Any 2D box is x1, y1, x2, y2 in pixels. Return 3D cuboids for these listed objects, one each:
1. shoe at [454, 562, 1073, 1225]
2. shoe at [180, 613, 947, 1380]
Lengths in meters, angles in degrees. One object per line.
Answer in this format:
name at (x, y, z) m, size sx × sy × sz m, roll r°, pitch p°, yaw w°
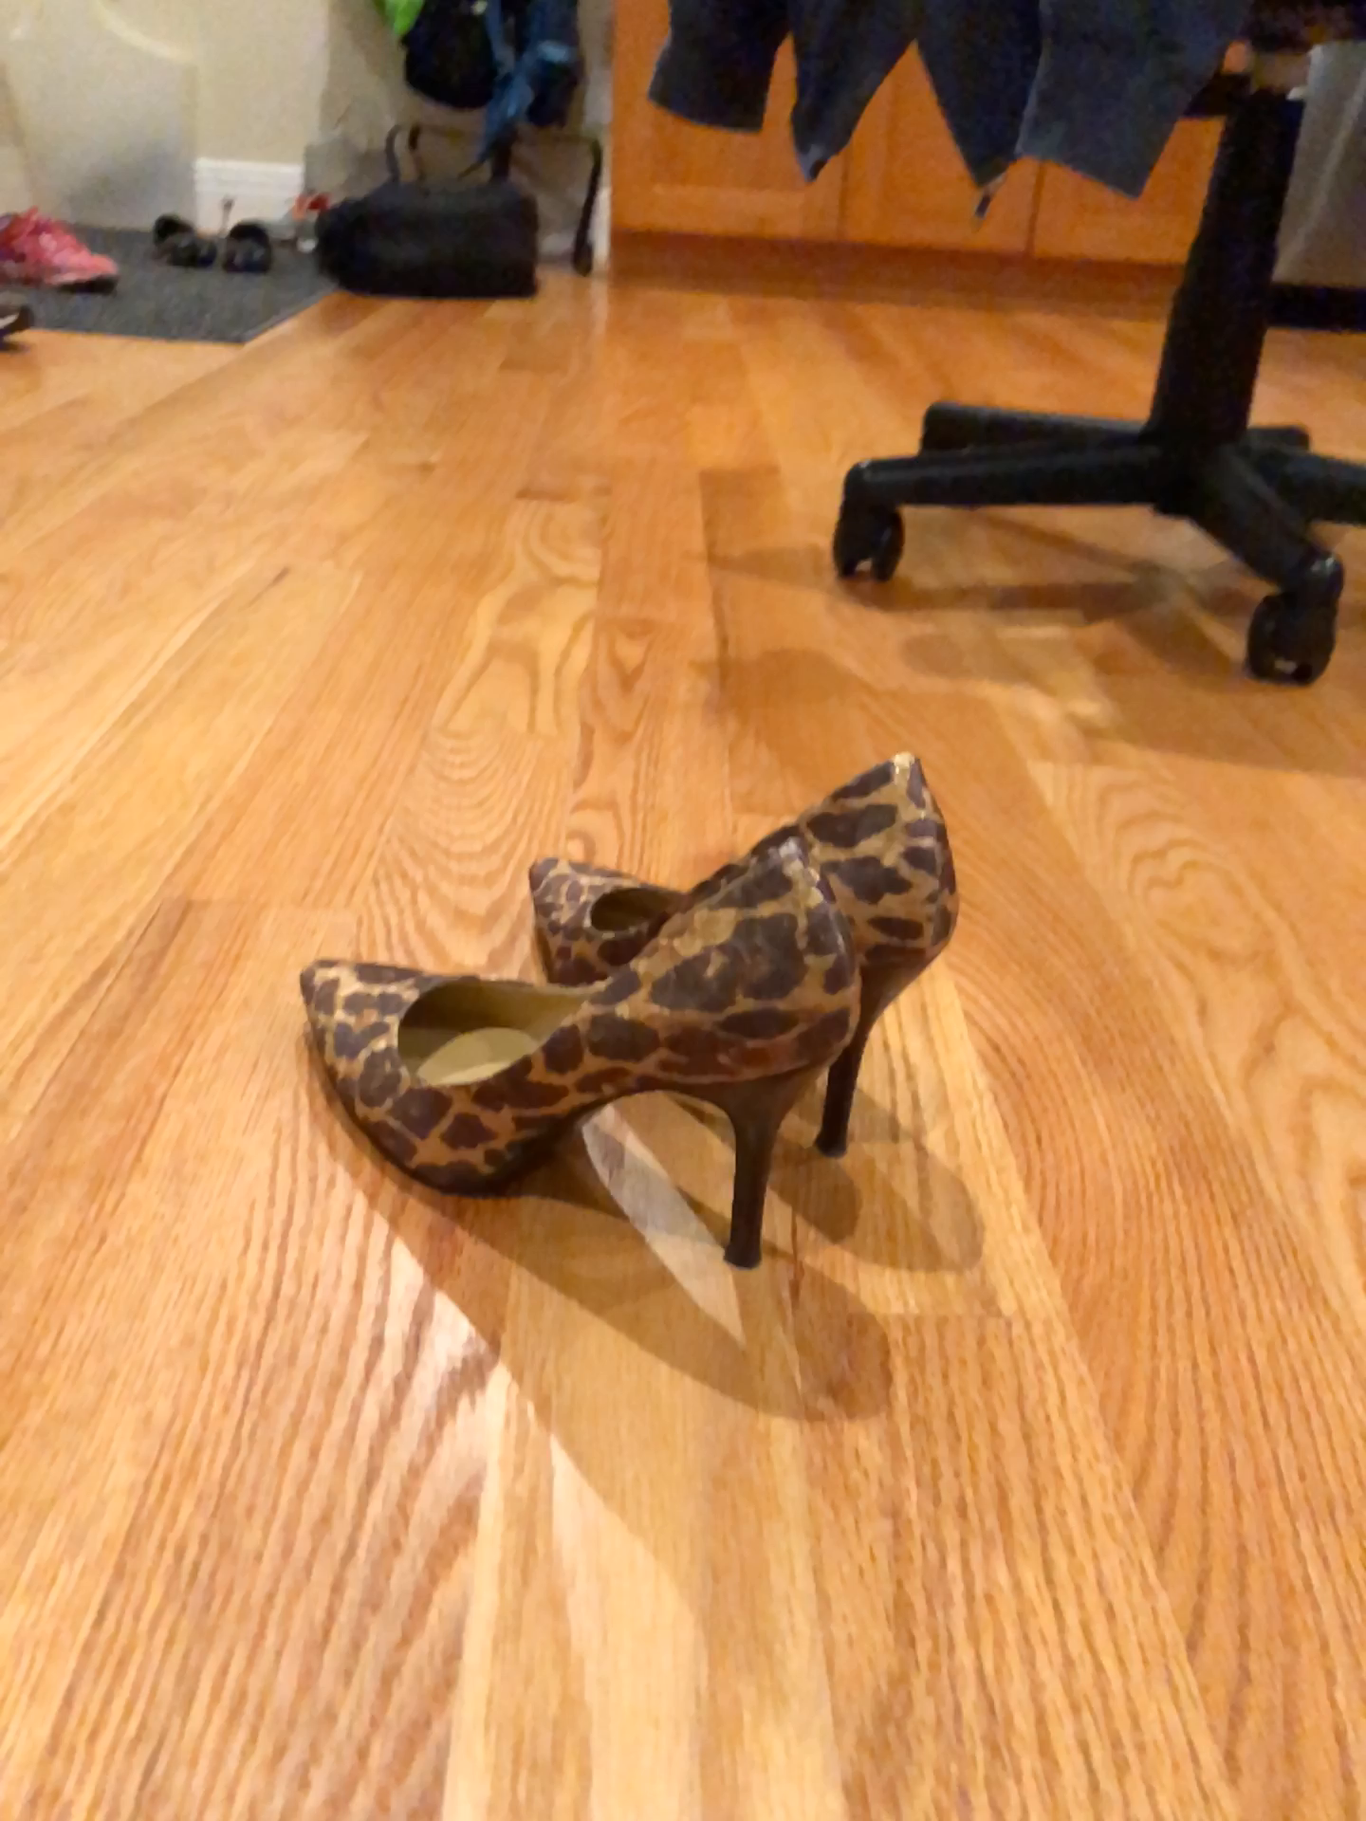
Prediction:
shoe at (0.012, -0.021, 0.528) m, size 0.084 × 0.144 × 0.219 m, roll -16°, pitch 33°, yaw -34°
shoe at (-0.046, 0.012, 0.457) m, size 0.219 × 0.144 × 0.084 m, roll 23°, pitch 33°, yaw 33°
